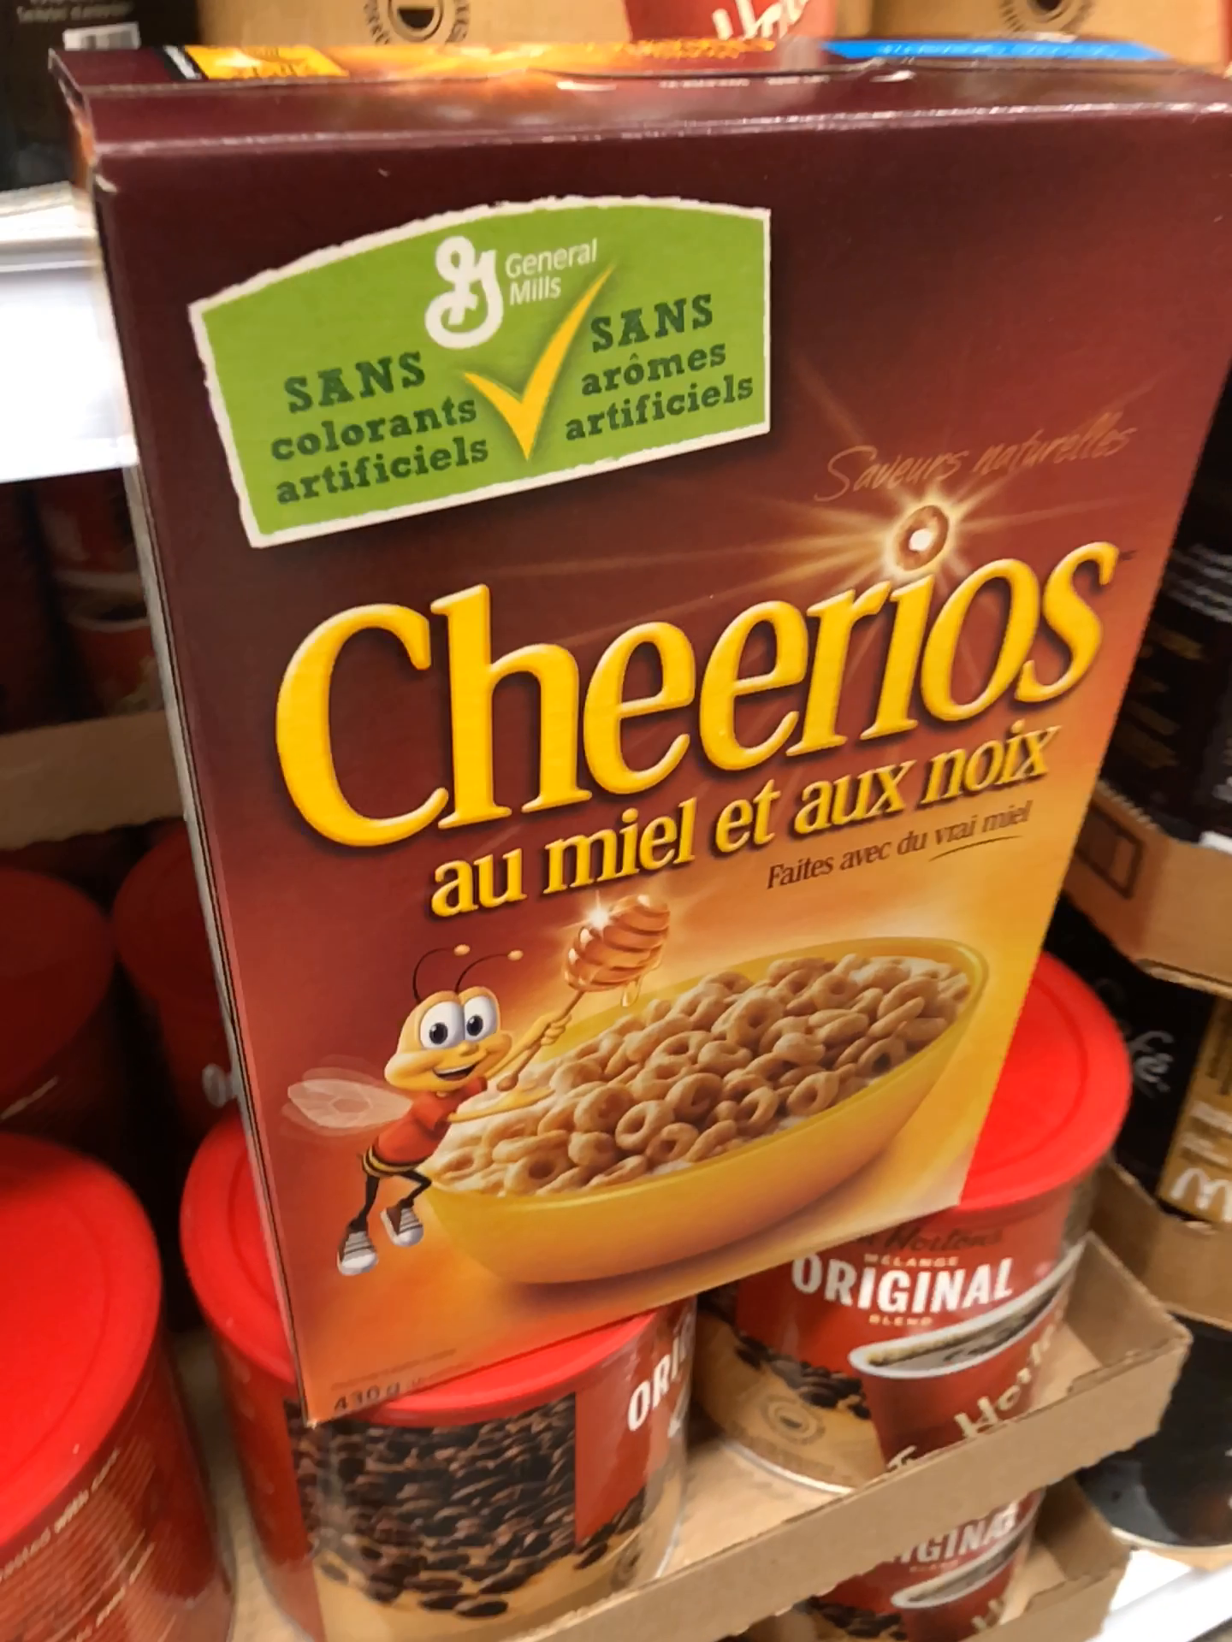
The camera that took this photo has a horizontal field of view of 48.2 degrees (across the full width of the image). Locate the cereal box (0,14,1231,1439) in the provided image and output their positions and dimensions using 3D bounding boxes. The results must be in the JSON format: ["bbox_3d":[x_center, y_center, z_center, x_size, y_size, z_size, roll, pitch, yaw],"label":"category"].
[{"bbox_3d":[0.005,-0.003,0.298,0.200,0.289,0.060,-12,40,-19],"label":"cereal box"}]
